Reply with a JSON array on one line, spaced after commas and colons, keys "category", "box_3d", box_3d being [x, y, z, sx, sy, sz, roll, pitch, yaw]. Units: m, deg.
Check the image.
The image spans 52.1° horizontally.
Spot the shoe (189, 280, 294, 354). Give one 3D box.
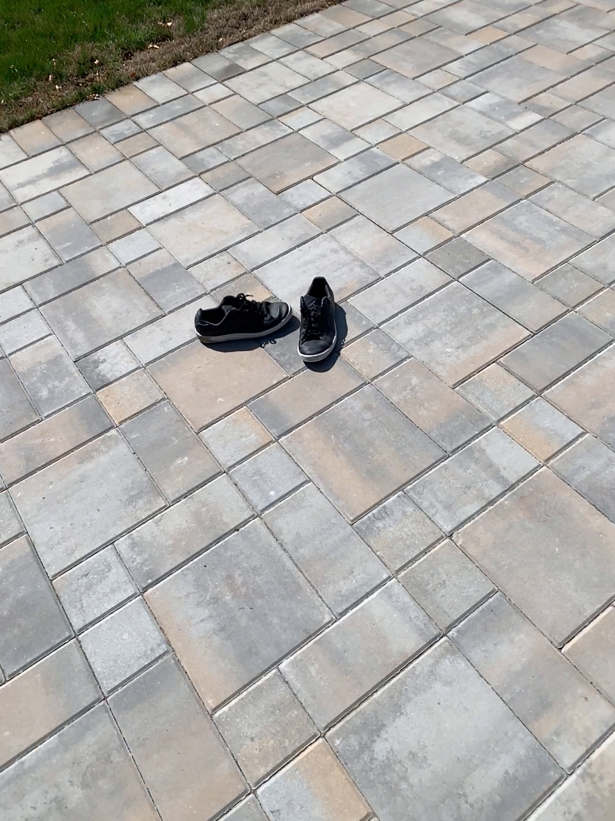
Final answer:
[{"category": "shoe", "box_3d": [-0.172, -0.244, 1.642, 0.250, 0.110, 0.110, -9, 51, -1]}]

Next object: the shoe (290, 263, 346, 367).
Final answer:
[{"category": "shoe", "box_3d": [0.032, -0.249, 1.615, 0.110, 0.100, 0.281, 2, 51, 8]}]
